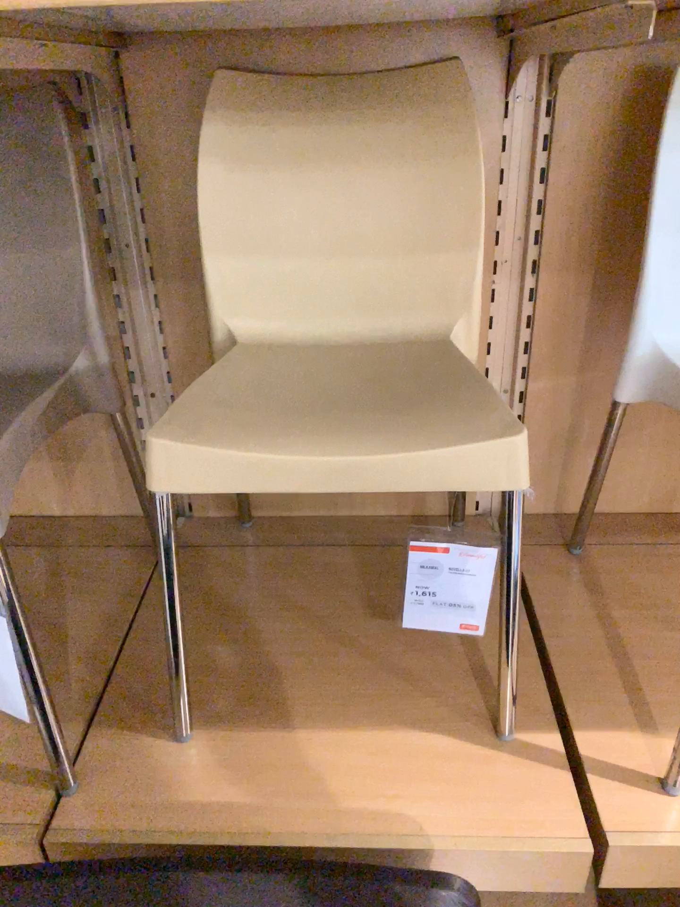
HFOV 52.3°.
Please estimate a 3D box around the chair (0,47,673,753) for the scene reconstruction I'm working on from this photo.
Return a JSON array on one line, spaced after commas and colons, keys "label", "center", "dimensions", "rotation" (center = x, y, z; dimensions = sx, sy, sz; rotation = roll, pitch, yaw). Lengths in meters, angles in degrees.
[{"label": "chair", "center": [-0.016, -0.101, 0.989], "dimensions": [0.540, 0.807, 0.592], "rotation": [0, 29, 0]}]
